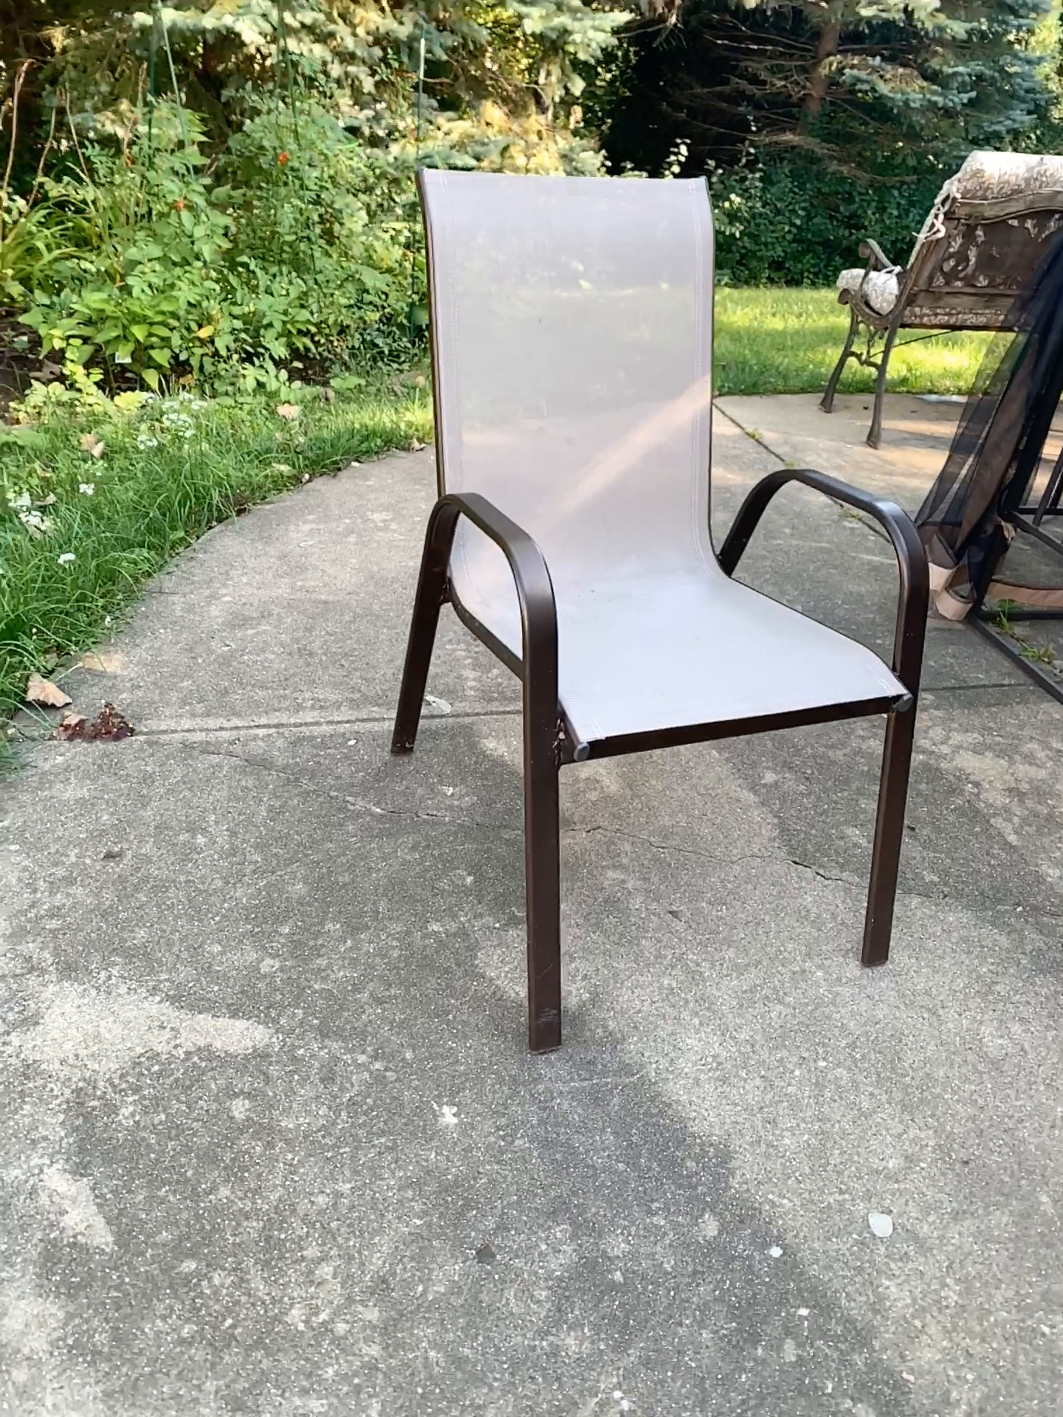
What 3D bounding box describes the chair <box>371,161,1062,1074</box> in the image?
[{"bbox_3d":[0.161,-0.174,1.392,0.570,0.845,0.744,-7,34,-20],"label":"chair"}]
